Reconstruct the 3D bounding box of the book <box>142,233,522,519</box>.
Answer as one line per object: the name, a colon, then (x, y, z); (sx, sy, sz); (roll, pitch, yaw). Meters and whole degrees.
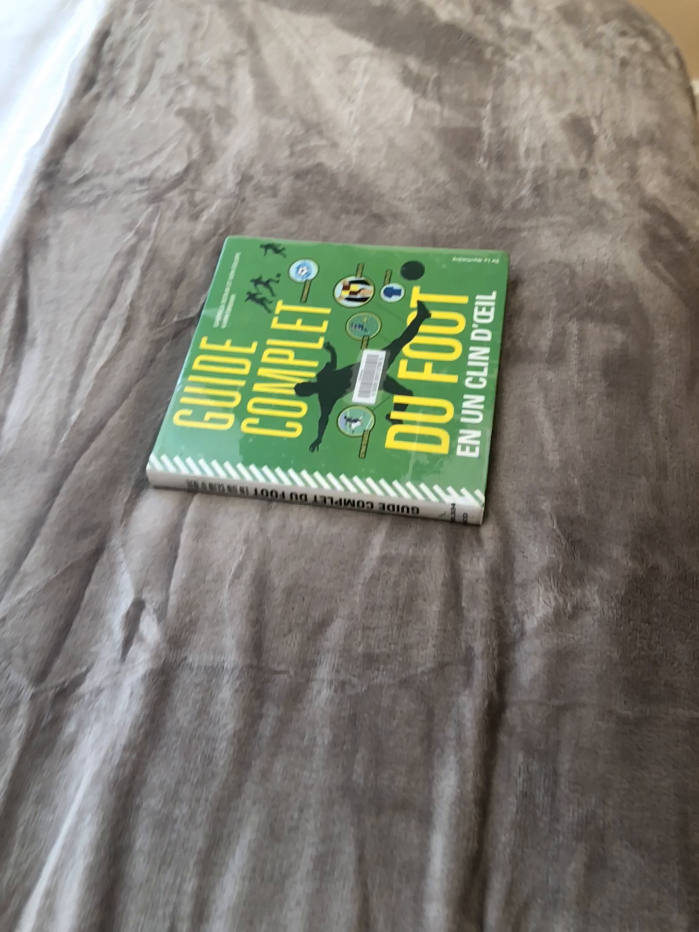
book: (-0.001, -0.078, 0.558); (0.238, 0.019, 0.228); (6, 58, 8)
